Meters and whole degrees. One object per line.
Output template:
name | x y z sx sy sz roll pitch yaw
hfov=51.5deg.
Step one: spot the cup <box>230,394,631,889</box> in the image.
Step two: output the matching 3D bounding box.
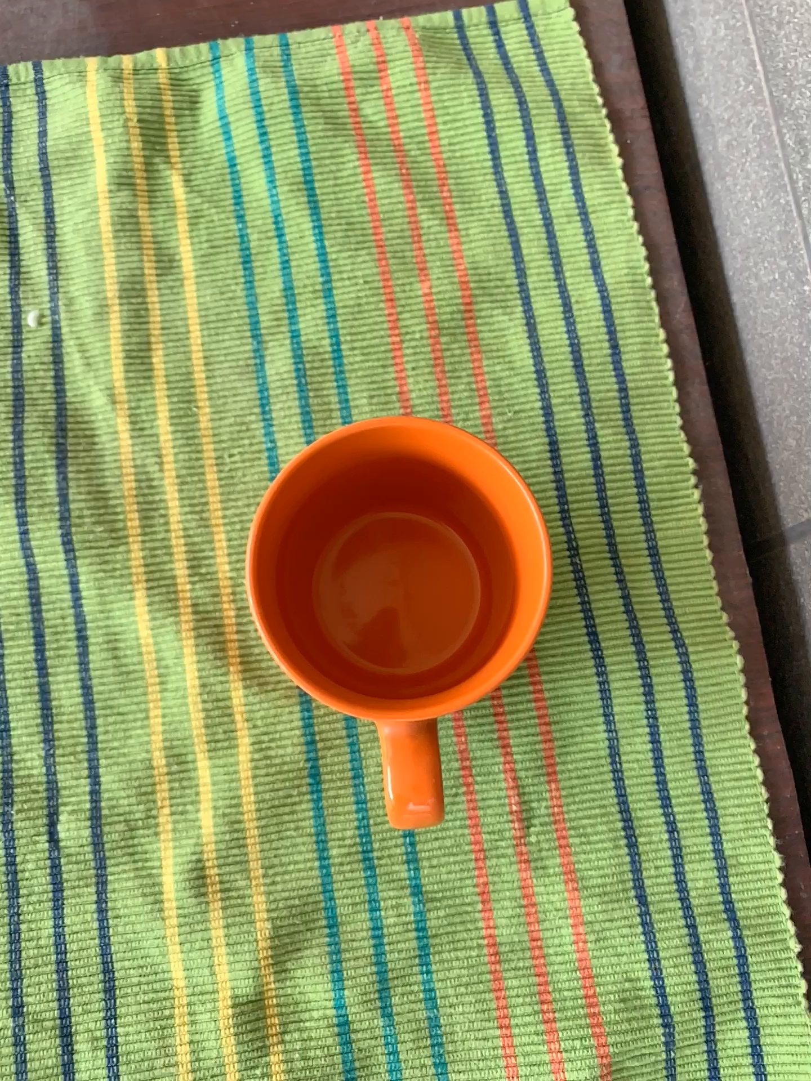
cup | 0.003 0.031 0.264 0.090 0.080 0.120 -8 79 -4
